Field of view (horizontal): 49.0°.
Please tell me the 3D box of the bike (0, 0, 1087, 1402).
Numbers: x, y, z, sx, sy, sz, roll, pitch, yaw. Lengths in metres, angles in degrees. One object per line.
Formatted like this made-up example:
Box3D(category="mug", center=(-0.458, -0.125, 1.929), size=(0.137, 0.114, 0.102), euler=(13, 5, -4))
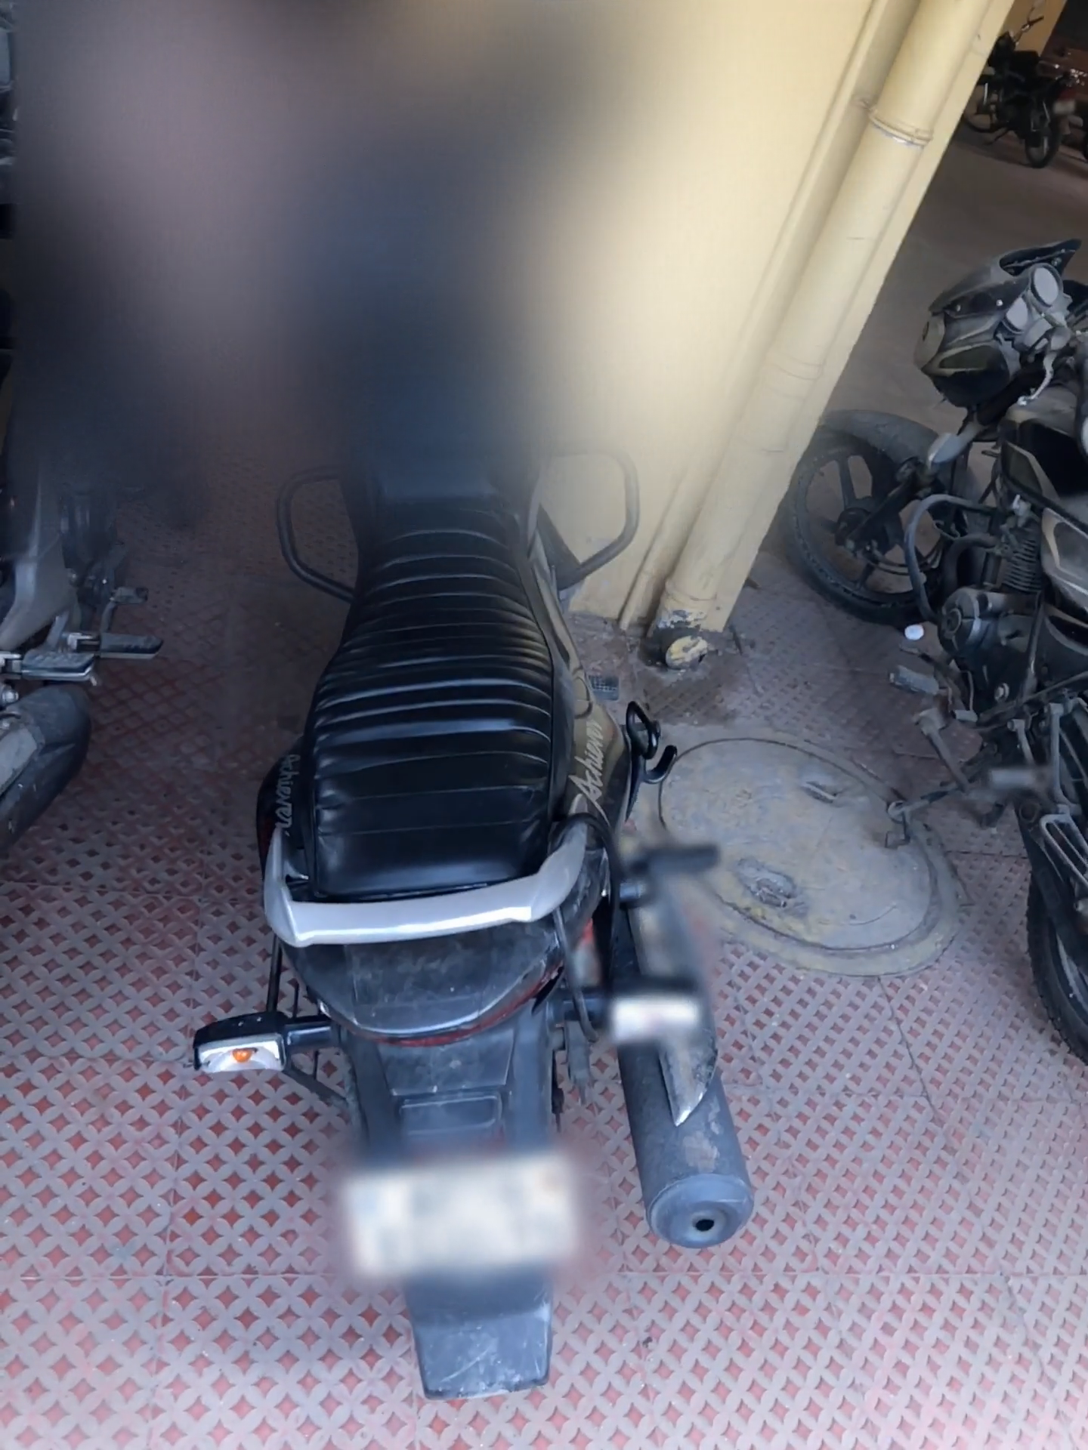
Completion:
Box3D(category="bike", center=(-0.287, -0.253, 1.648), size=(0.731, 1.125, 1.767), euler=(5, 39, -20))
